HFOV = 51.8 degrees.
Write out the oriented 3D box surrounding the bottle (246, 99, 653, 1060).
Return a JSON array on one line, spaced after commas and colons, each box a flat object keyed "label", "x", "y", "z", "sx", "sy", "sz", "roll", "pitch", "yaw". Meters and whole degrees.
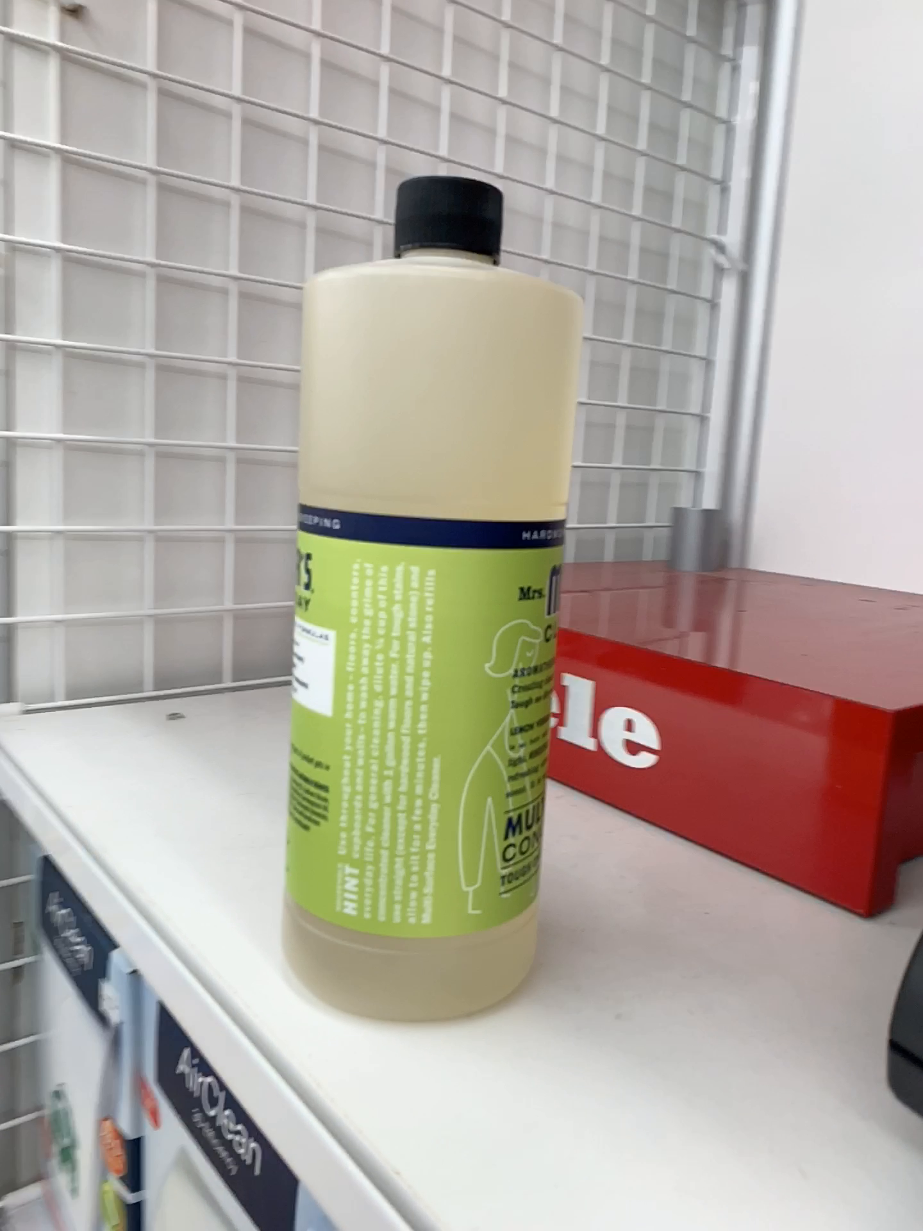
[{"label": "bottle", "x": -0.007, "y": -0.007, "z": 0.285, "sx": 0.090, "sy": 0.240, "sz": 0.090, "roll": 3, "pitch": 8, "yaw": 0}]
